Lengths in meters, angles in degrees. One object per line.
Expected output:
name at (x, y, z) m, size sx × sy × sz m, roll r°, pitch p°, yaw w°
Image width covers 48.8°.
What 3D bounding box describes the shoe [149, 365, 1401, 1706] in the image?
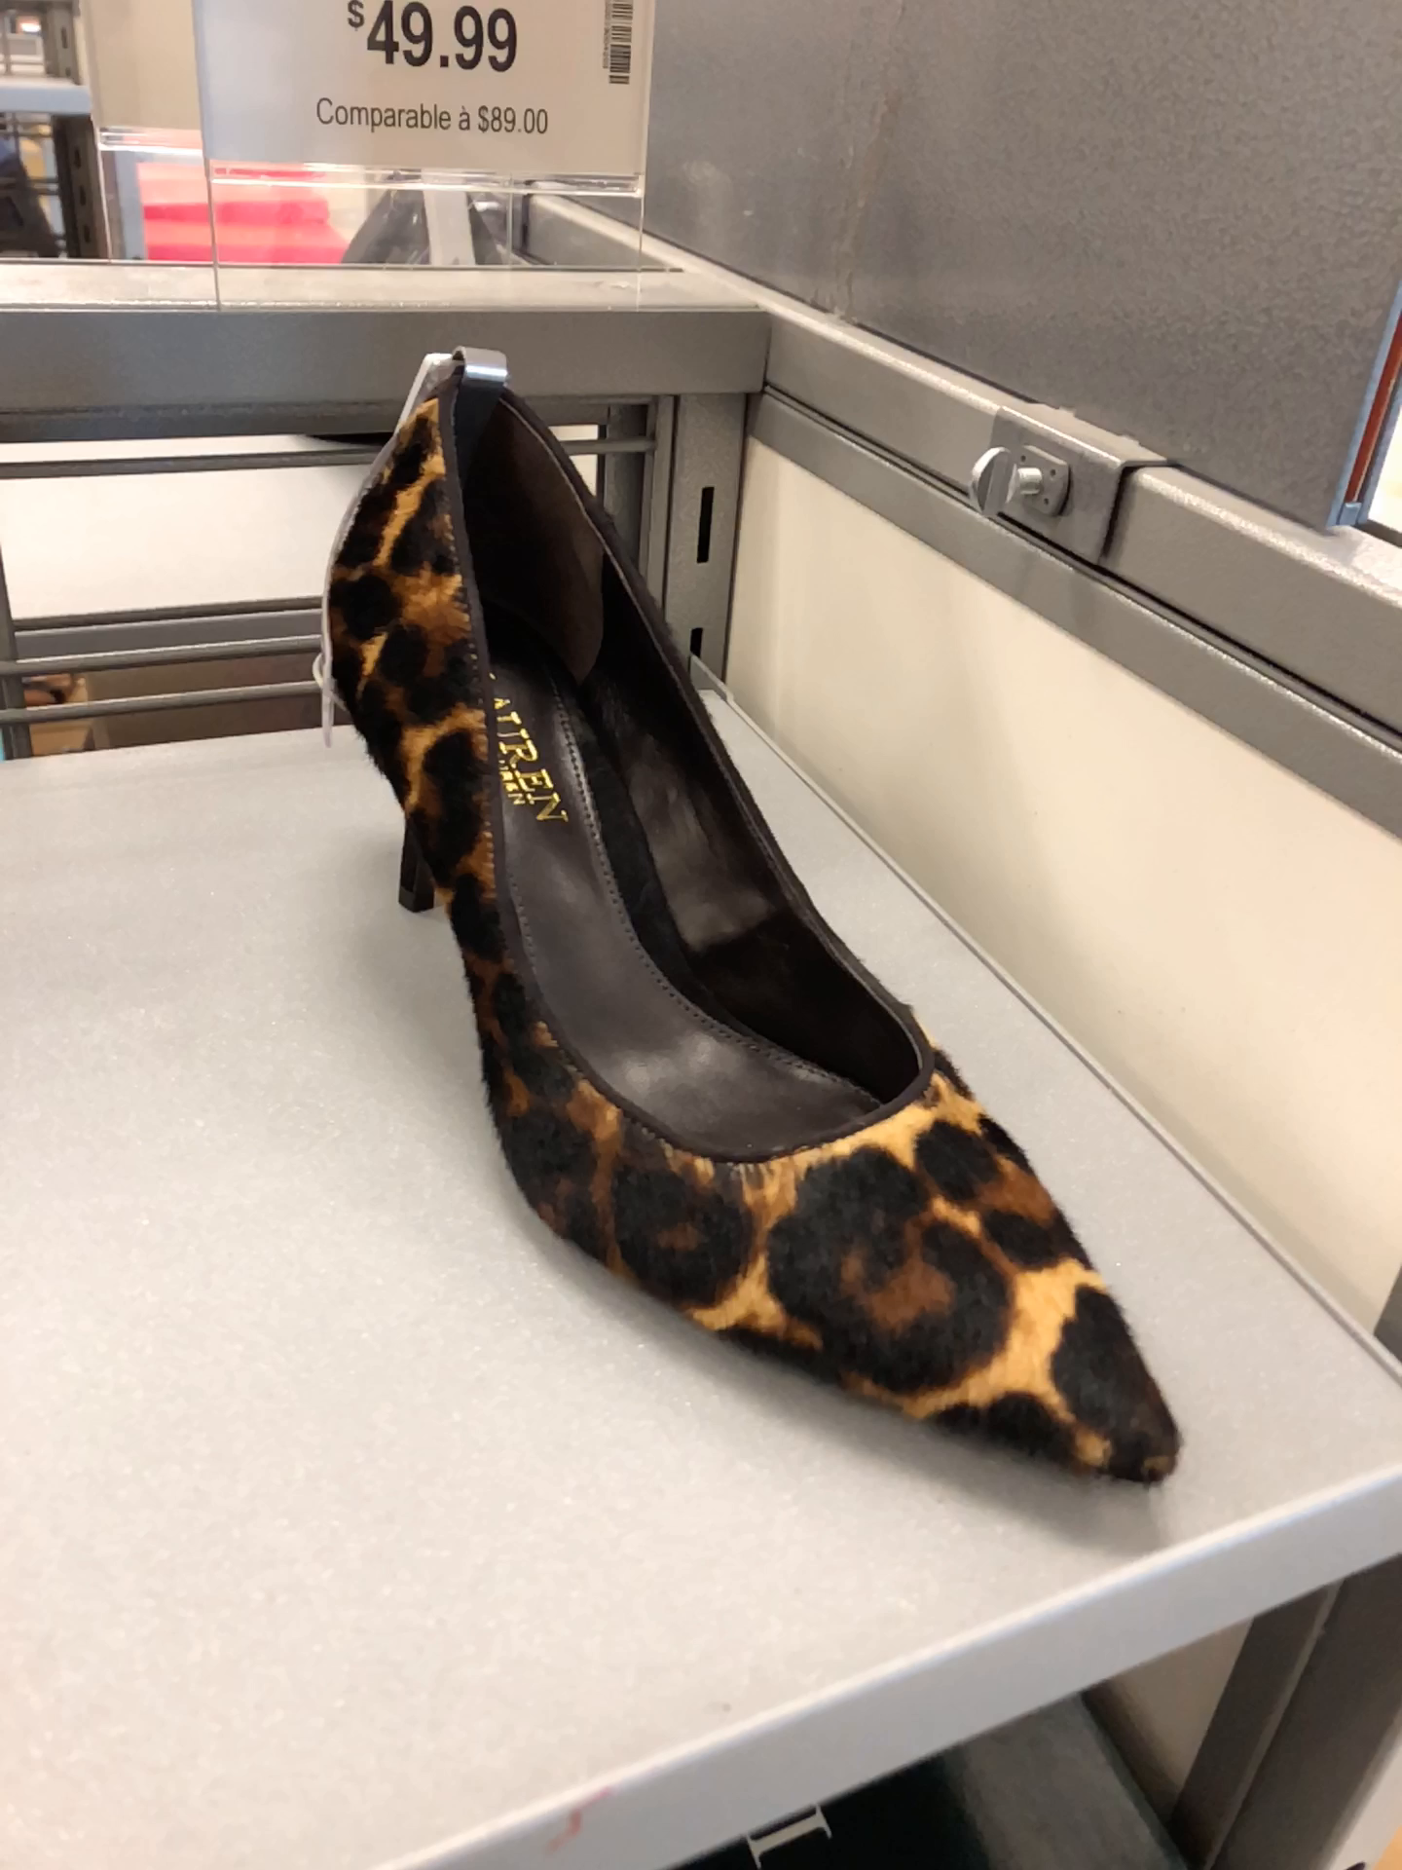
shoe at (-0.013, -0.015, 0.313) m, size 0.090 × 0.129 × 0.271 m, roll -17°, pitch 38°, yaw -32°
